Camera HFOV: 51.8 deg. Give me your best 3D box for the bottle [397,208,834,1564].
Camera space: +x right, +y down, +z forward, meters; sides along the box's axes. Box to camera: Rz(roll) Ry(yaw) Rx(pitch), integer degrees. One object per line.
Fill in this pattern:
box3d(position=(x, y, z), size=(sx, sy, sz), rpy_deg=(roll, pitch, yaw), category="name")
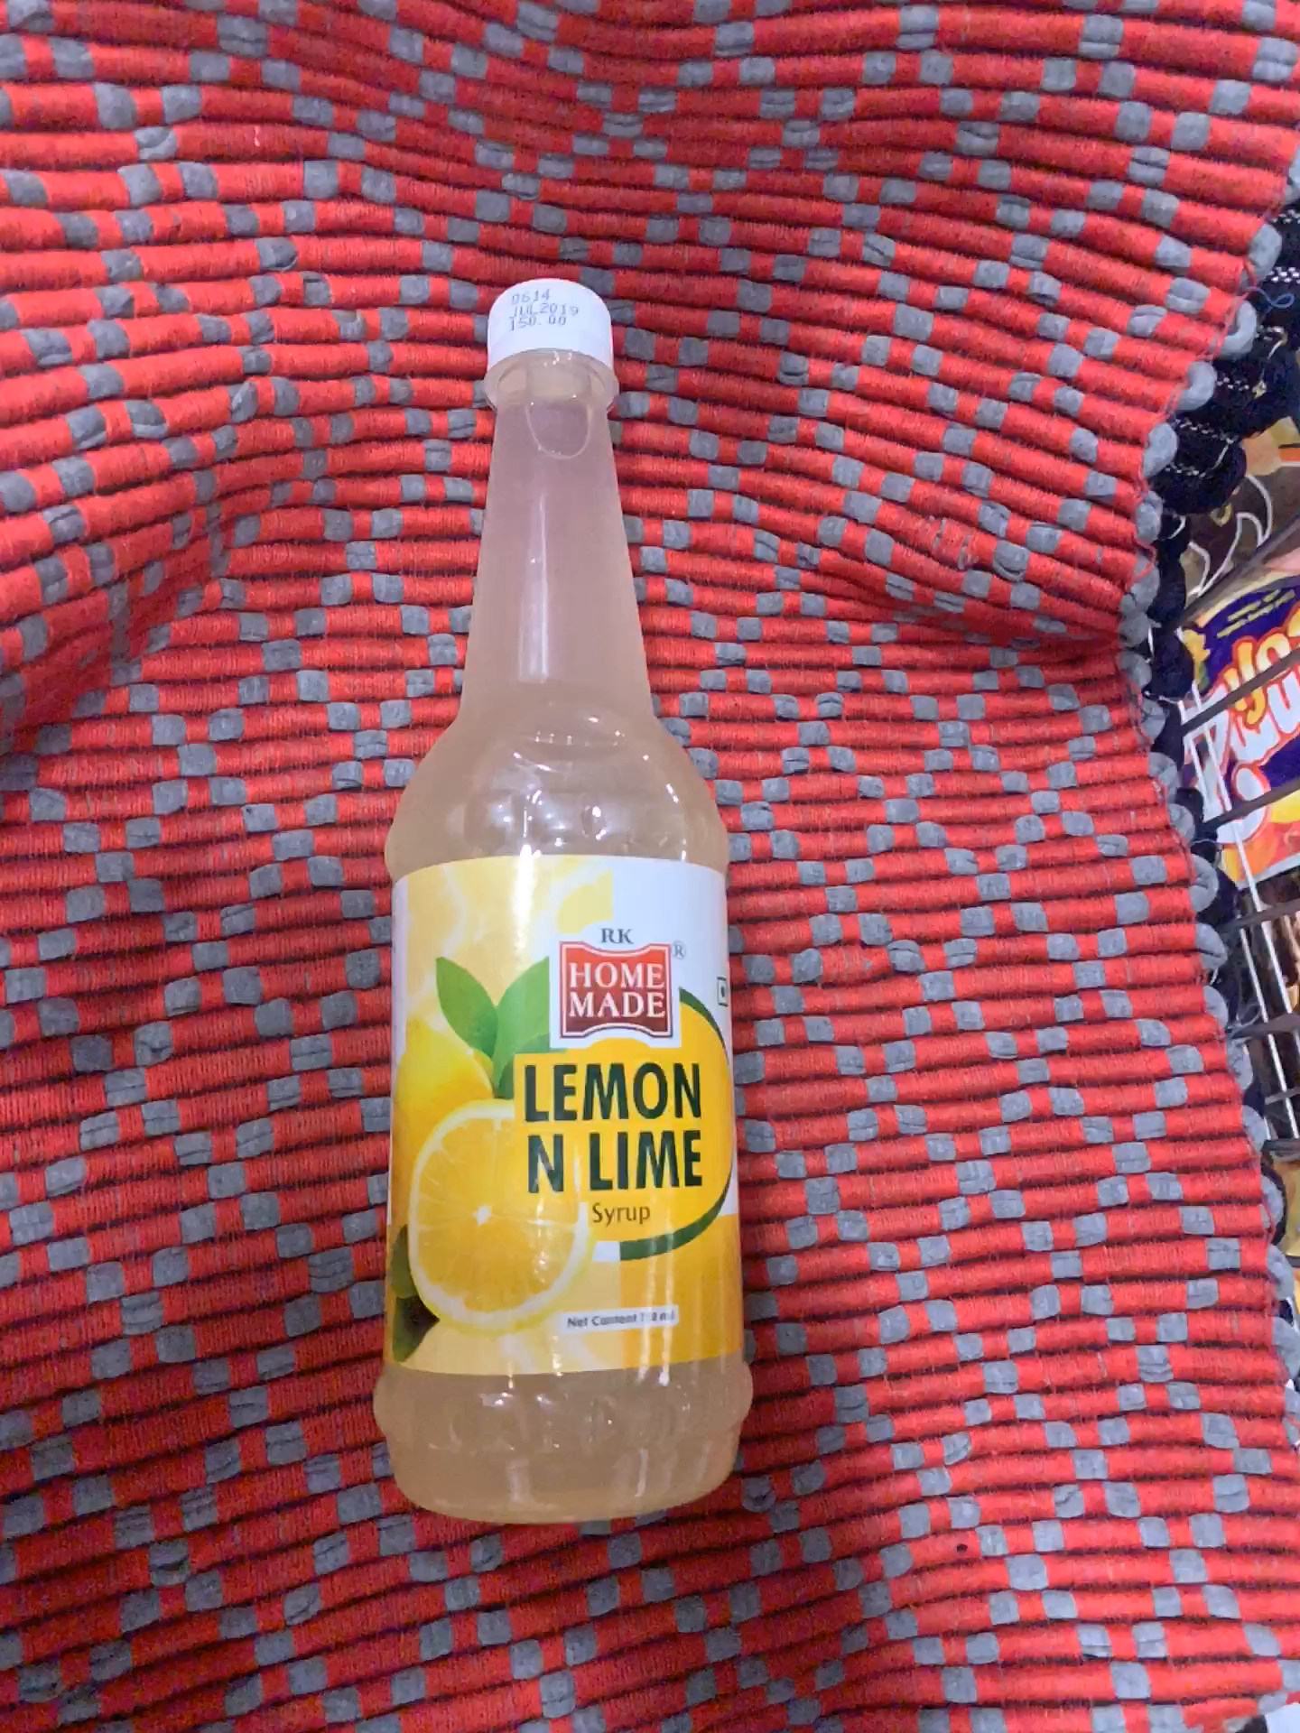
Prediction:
box3d(position=(-0.017, -0.004, 0.287), size=(0.070, 0.070, 0.260), rpy_deg=(1, 73, -13), category="bottle")
